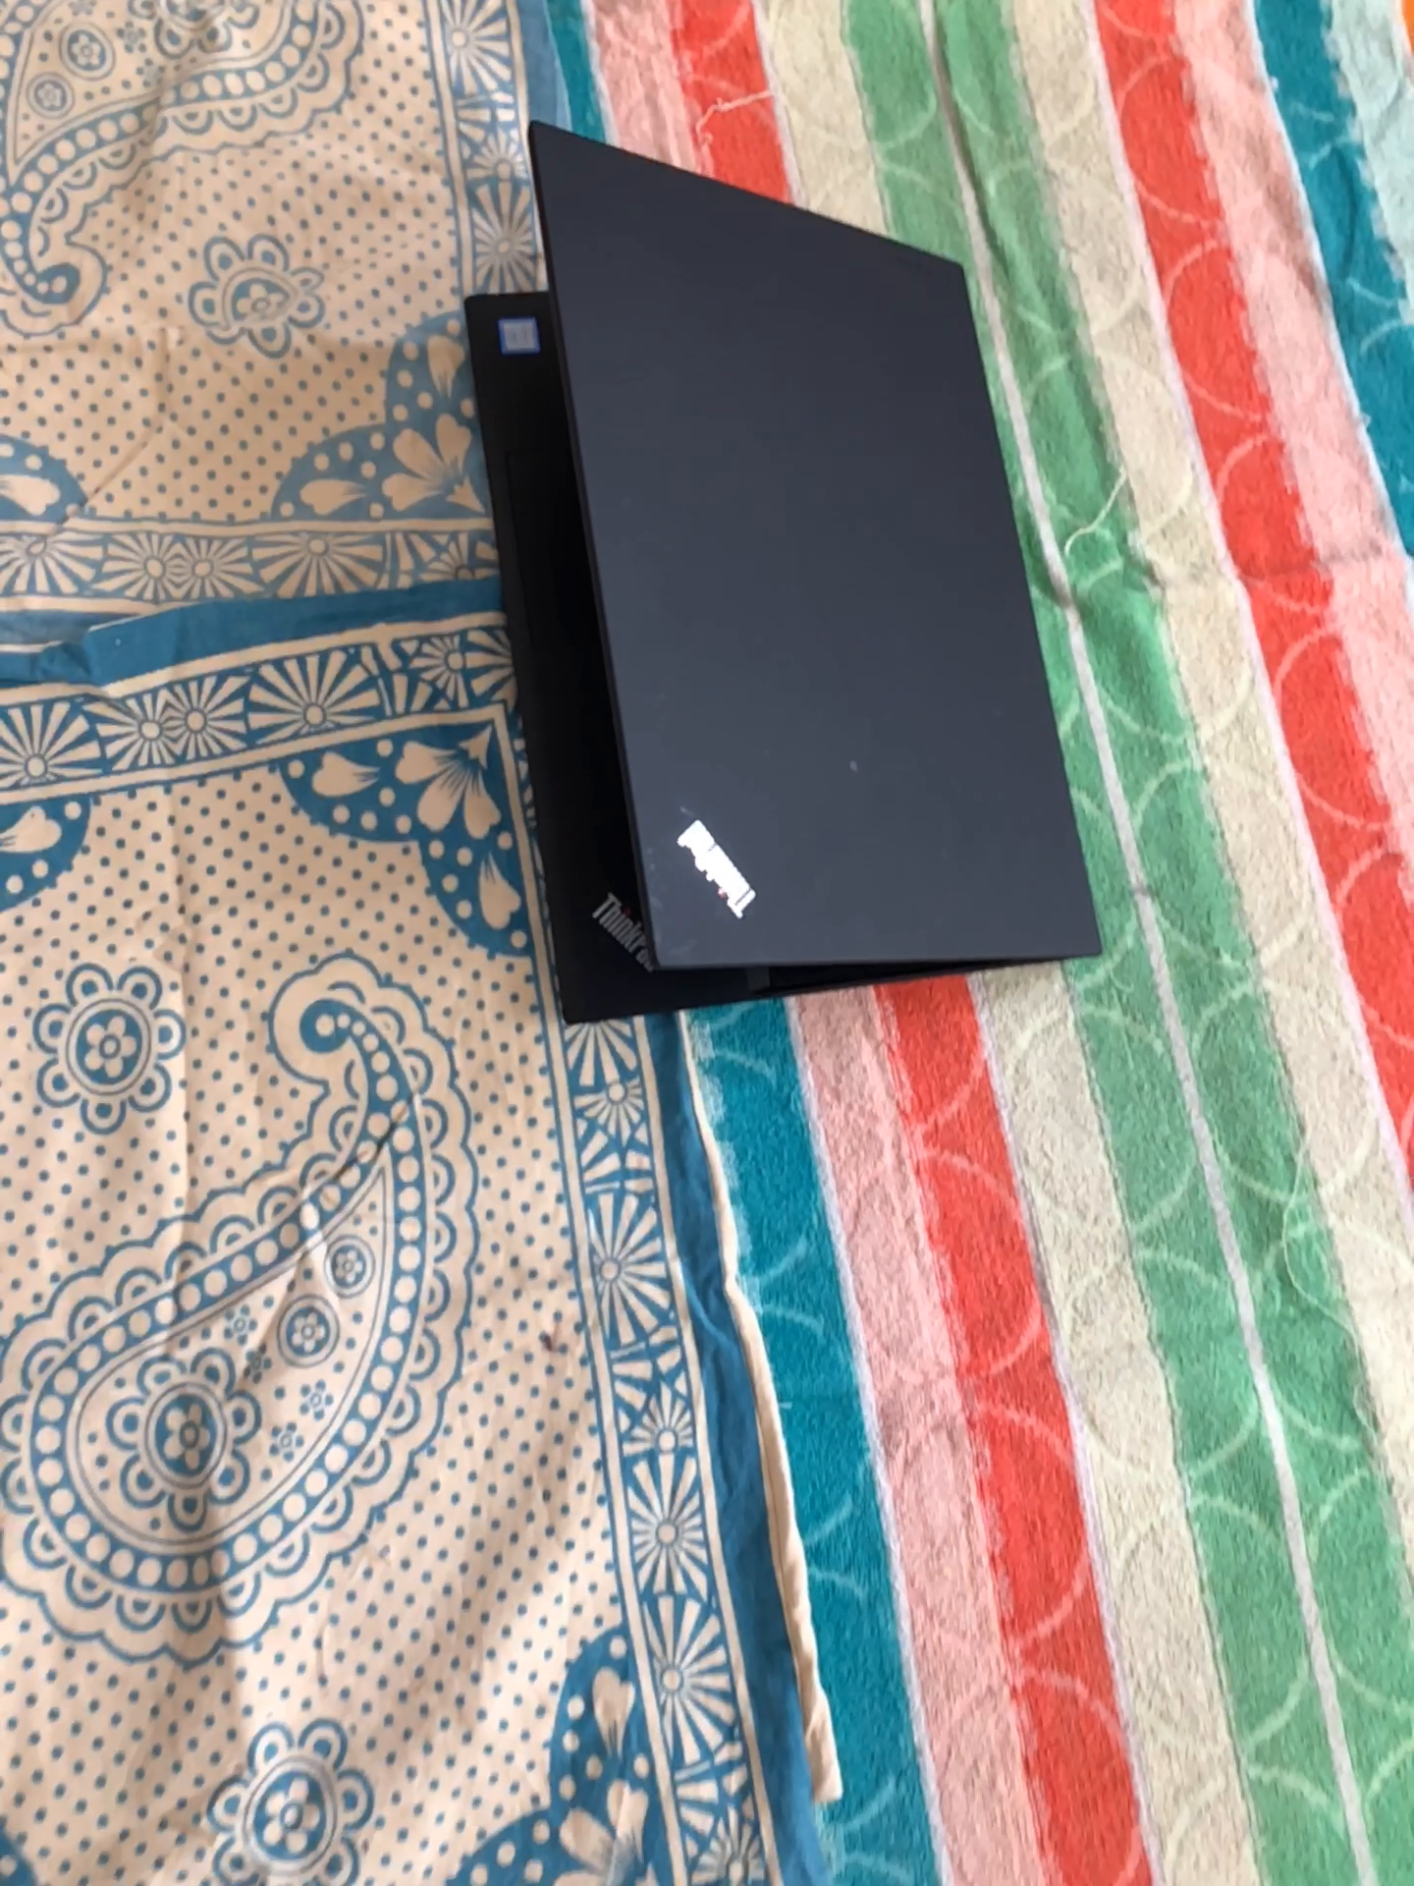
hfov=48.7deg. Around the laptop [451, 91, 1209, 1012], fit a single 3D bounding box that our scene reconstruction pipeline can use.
[{"bbox_3d":[0.040,-0.164,0.667,0.243,0.122,0.346,-7,81,-10],"label":"laptop"}]
